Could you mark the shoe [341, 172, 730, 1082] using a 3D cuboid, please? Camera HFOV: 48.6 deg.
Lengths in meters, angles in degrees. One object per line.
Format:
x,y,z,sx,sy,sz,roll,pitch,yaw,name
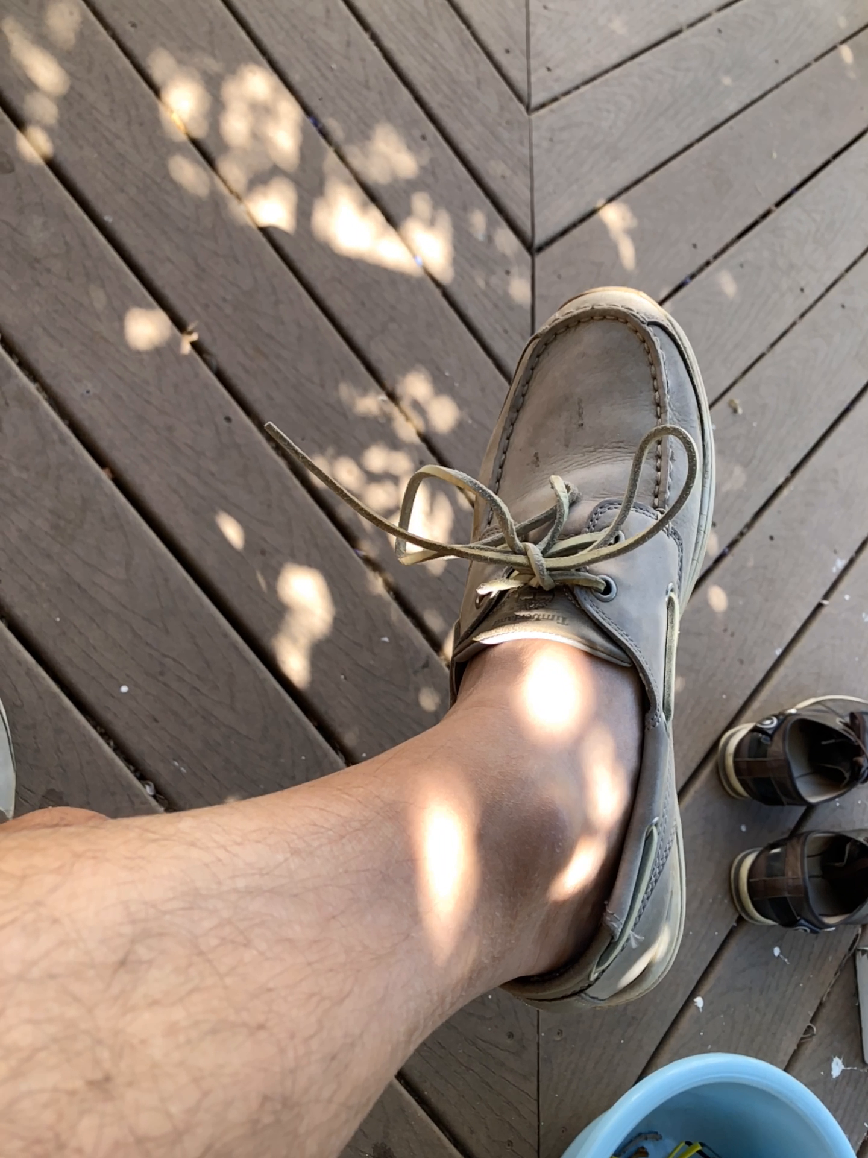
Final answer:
0.054,0.012,0.380,0.106,0.113,0.303,38,54,-64,shoe
